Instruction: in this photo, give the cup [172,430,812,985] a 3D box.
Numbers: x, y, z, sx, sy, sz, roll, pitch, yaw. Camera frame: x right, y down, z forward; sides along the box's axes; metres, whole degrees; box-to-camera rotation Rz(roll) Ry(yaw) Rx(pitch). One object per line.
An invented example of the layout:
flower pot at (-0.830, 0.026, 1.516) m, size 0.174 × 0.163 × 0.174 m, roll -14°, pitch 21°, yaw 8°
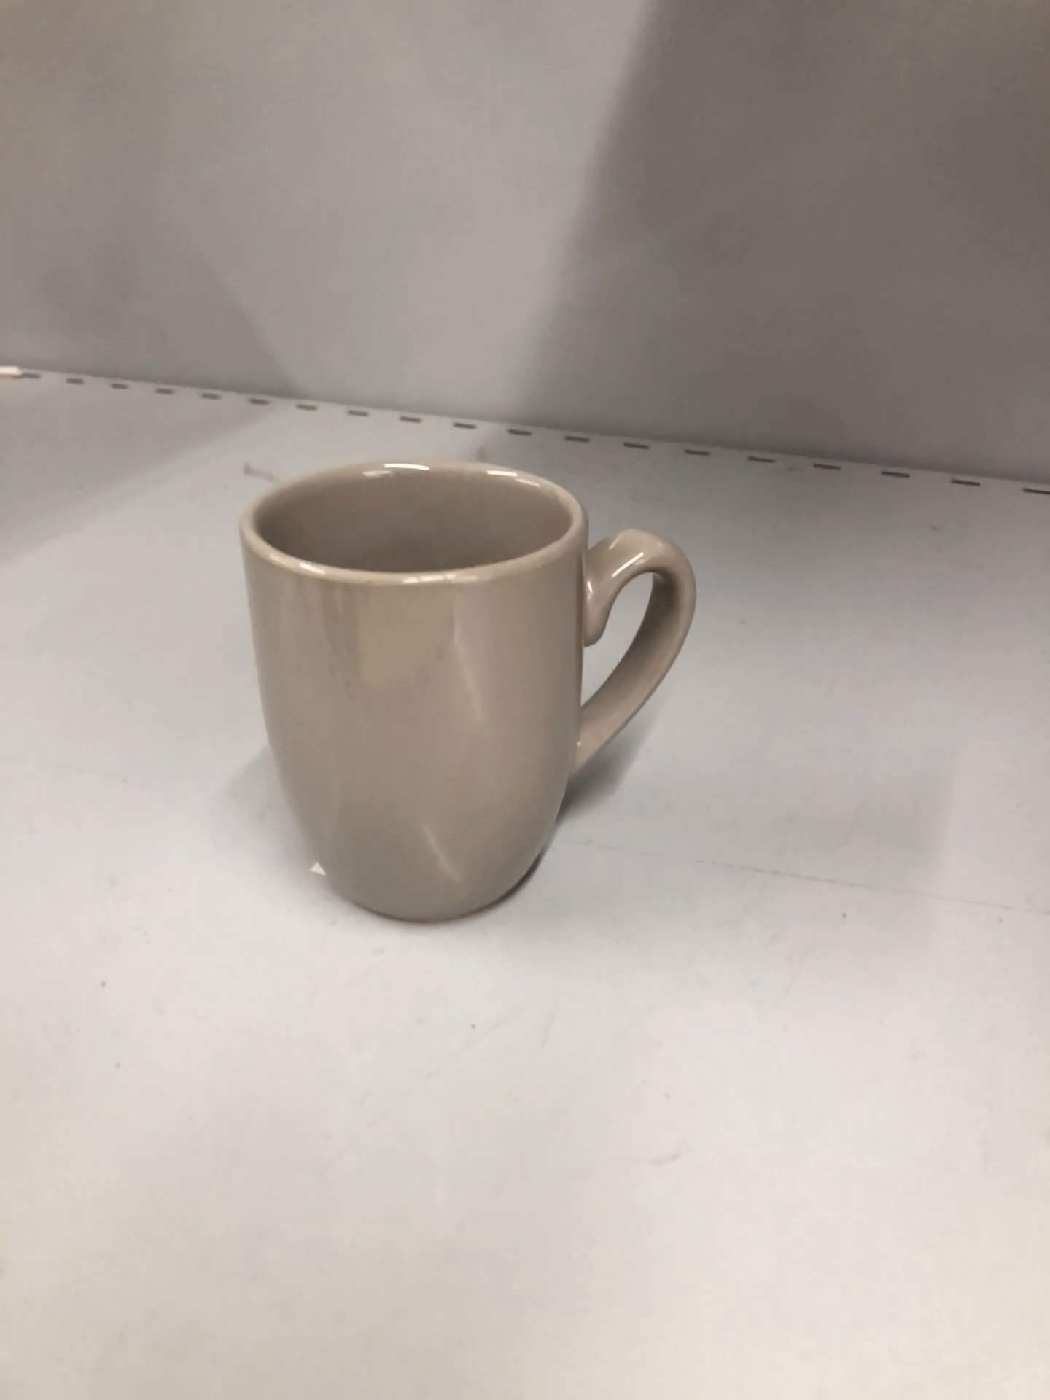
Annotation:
cup at (-0.009, -0.005, 0.211) m, size 0.092 × 0.062 × 0.065 m, roll -11°, pitch 31°, yaw -18°
